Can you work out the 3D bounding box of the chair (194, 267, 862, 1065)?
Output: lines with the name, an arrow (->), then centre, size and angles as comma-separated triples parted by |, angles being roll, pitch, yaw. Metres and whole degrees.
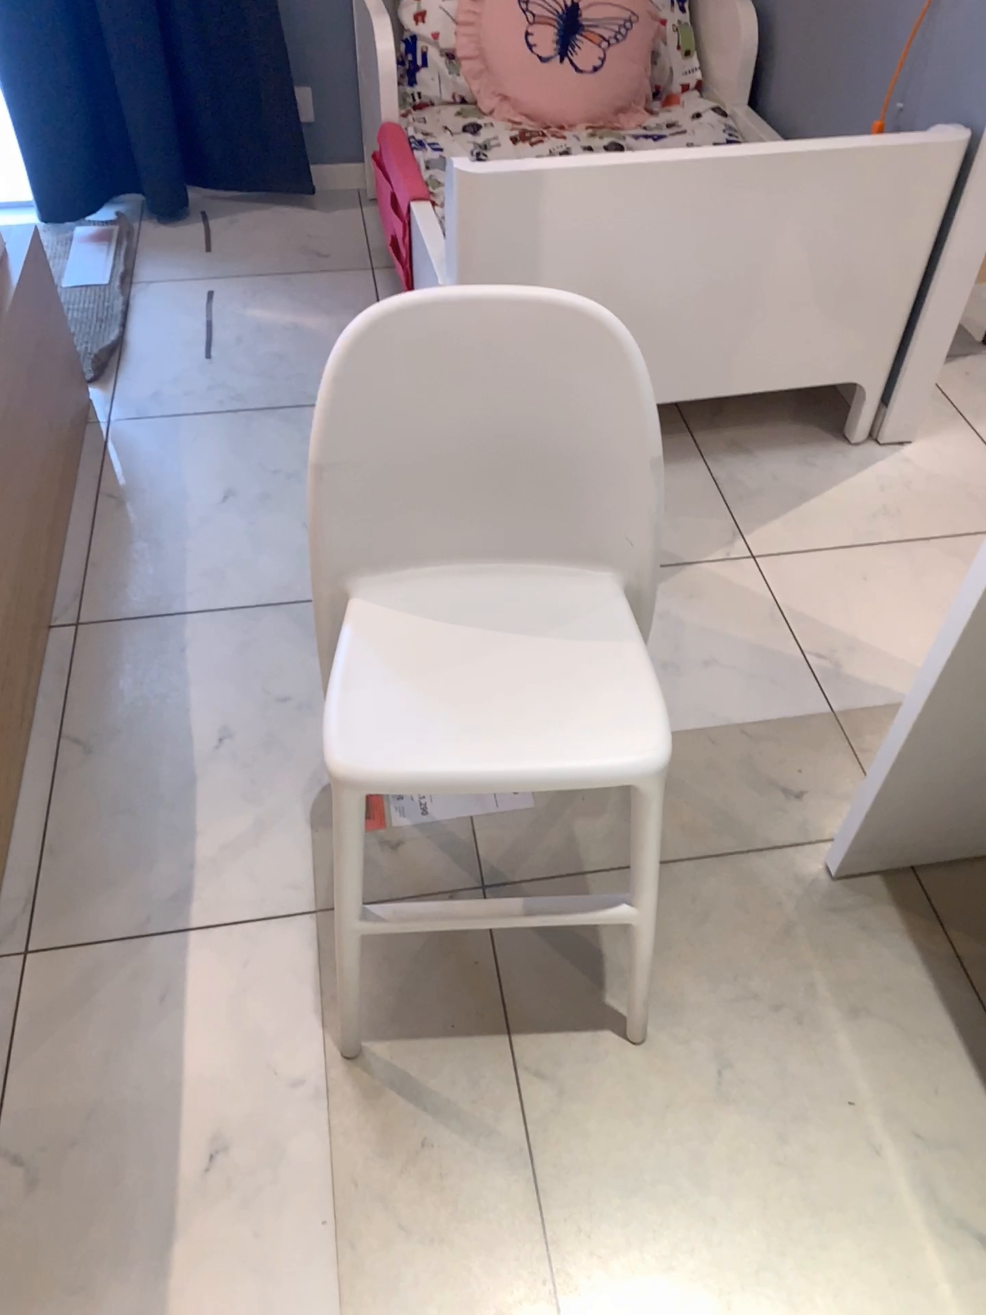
chair -> 0.009, 0.039, 1.069 | 0.430, 0.697, 0.502 | -1, 47, -2
